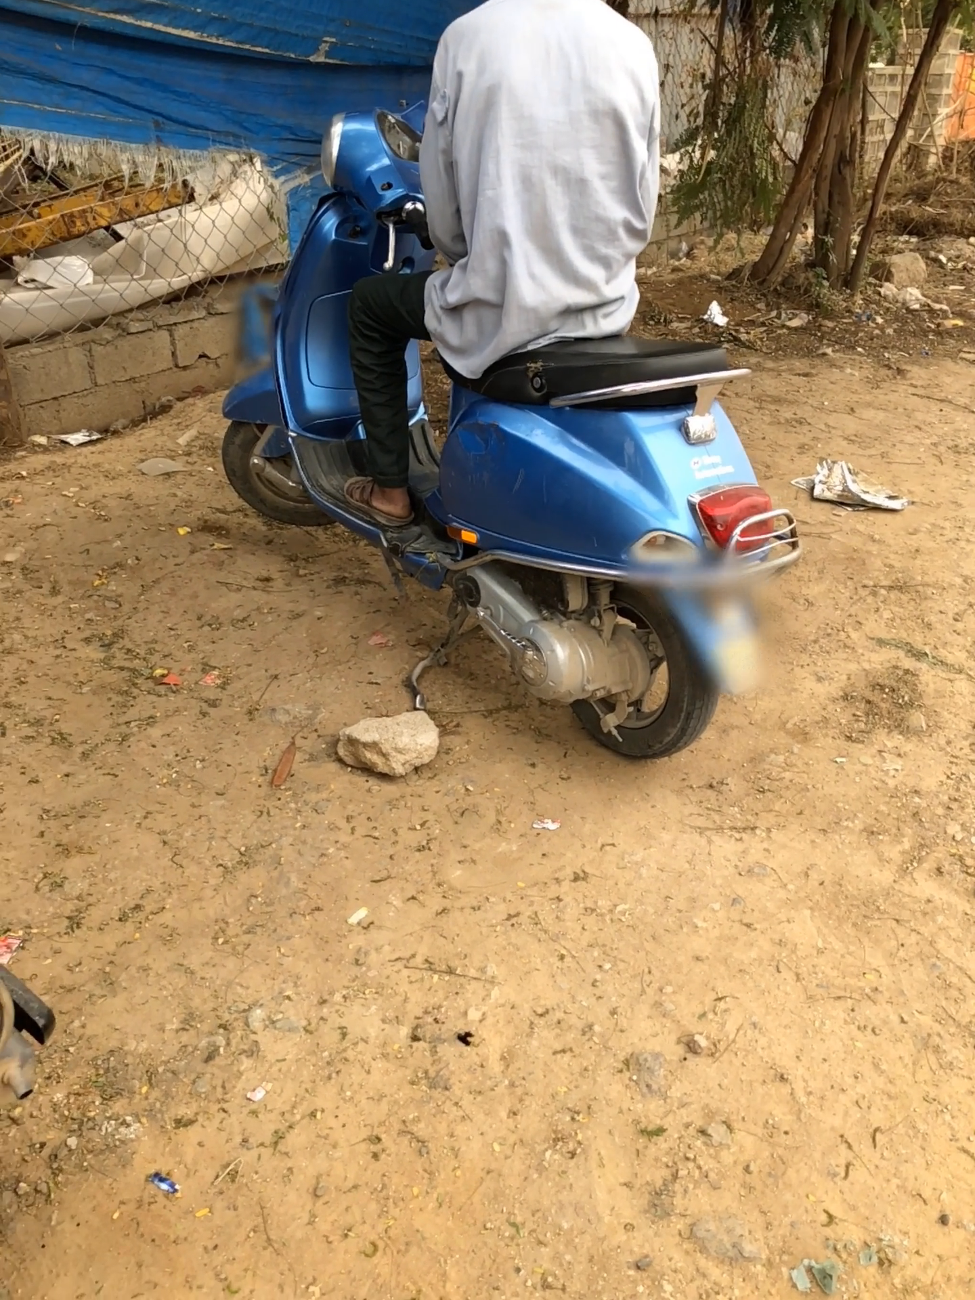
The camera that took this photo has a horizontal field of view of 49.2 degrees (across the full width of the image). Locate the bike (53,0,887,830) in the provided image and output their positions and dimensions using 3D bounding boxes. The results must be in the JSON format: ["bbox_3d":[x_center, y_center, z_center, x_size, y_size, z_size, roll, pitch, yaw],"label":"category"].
[{"bbox_3d":[-0.121,-0.644,2.386,1.567,1.253,0.635,29,39,35],"label":"bike"}]
